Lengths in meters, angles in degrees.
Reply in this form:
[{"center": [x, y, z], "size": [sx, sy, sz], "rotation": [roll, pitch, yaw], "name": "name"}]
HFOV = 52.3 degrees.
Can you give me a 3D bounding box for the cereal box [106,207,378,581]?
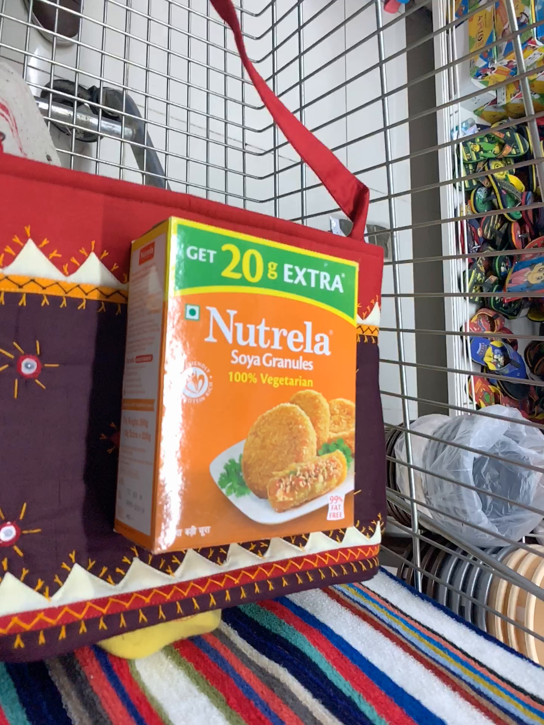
[{"center": [-0.011, 0.017, 0.281], "size": [0.120, 0.060, 0.150], "rotation": [5, 82, -34], "name": "cereal box"}]
